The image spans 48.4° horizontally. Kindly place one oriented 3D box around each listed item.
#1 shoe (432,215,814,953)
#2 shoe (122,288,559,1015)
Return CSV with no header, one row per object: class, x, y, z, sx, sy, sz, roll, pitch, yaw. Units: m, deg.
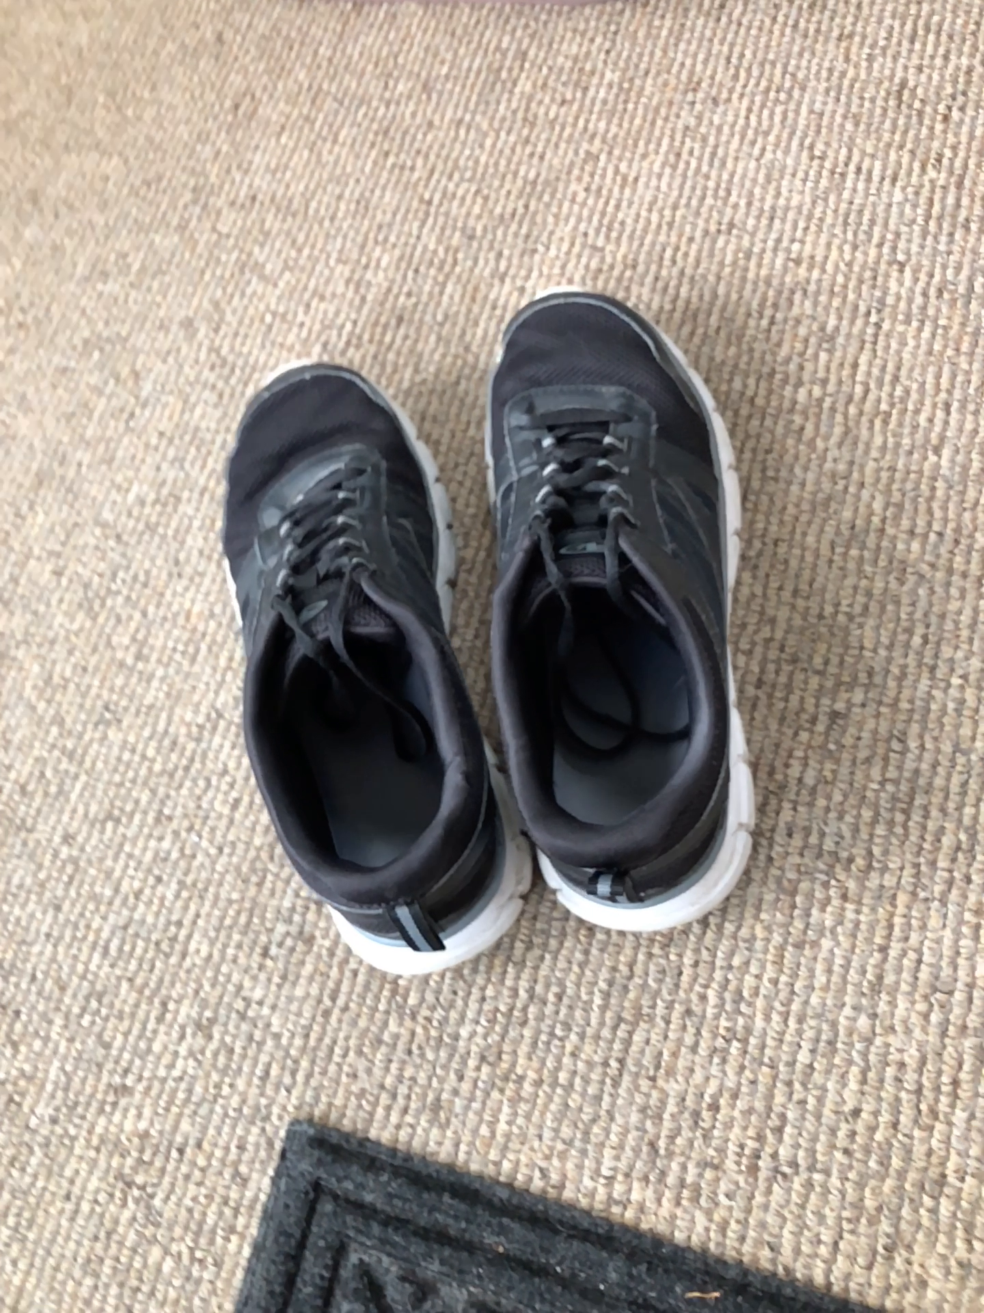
shoe,0.049,-0.027,0.458,0.120,0.111,0.276,-6,67,10
shoe,-0.069,-0.004,0.473,0.118,0.100,0.276,-16,66,5
